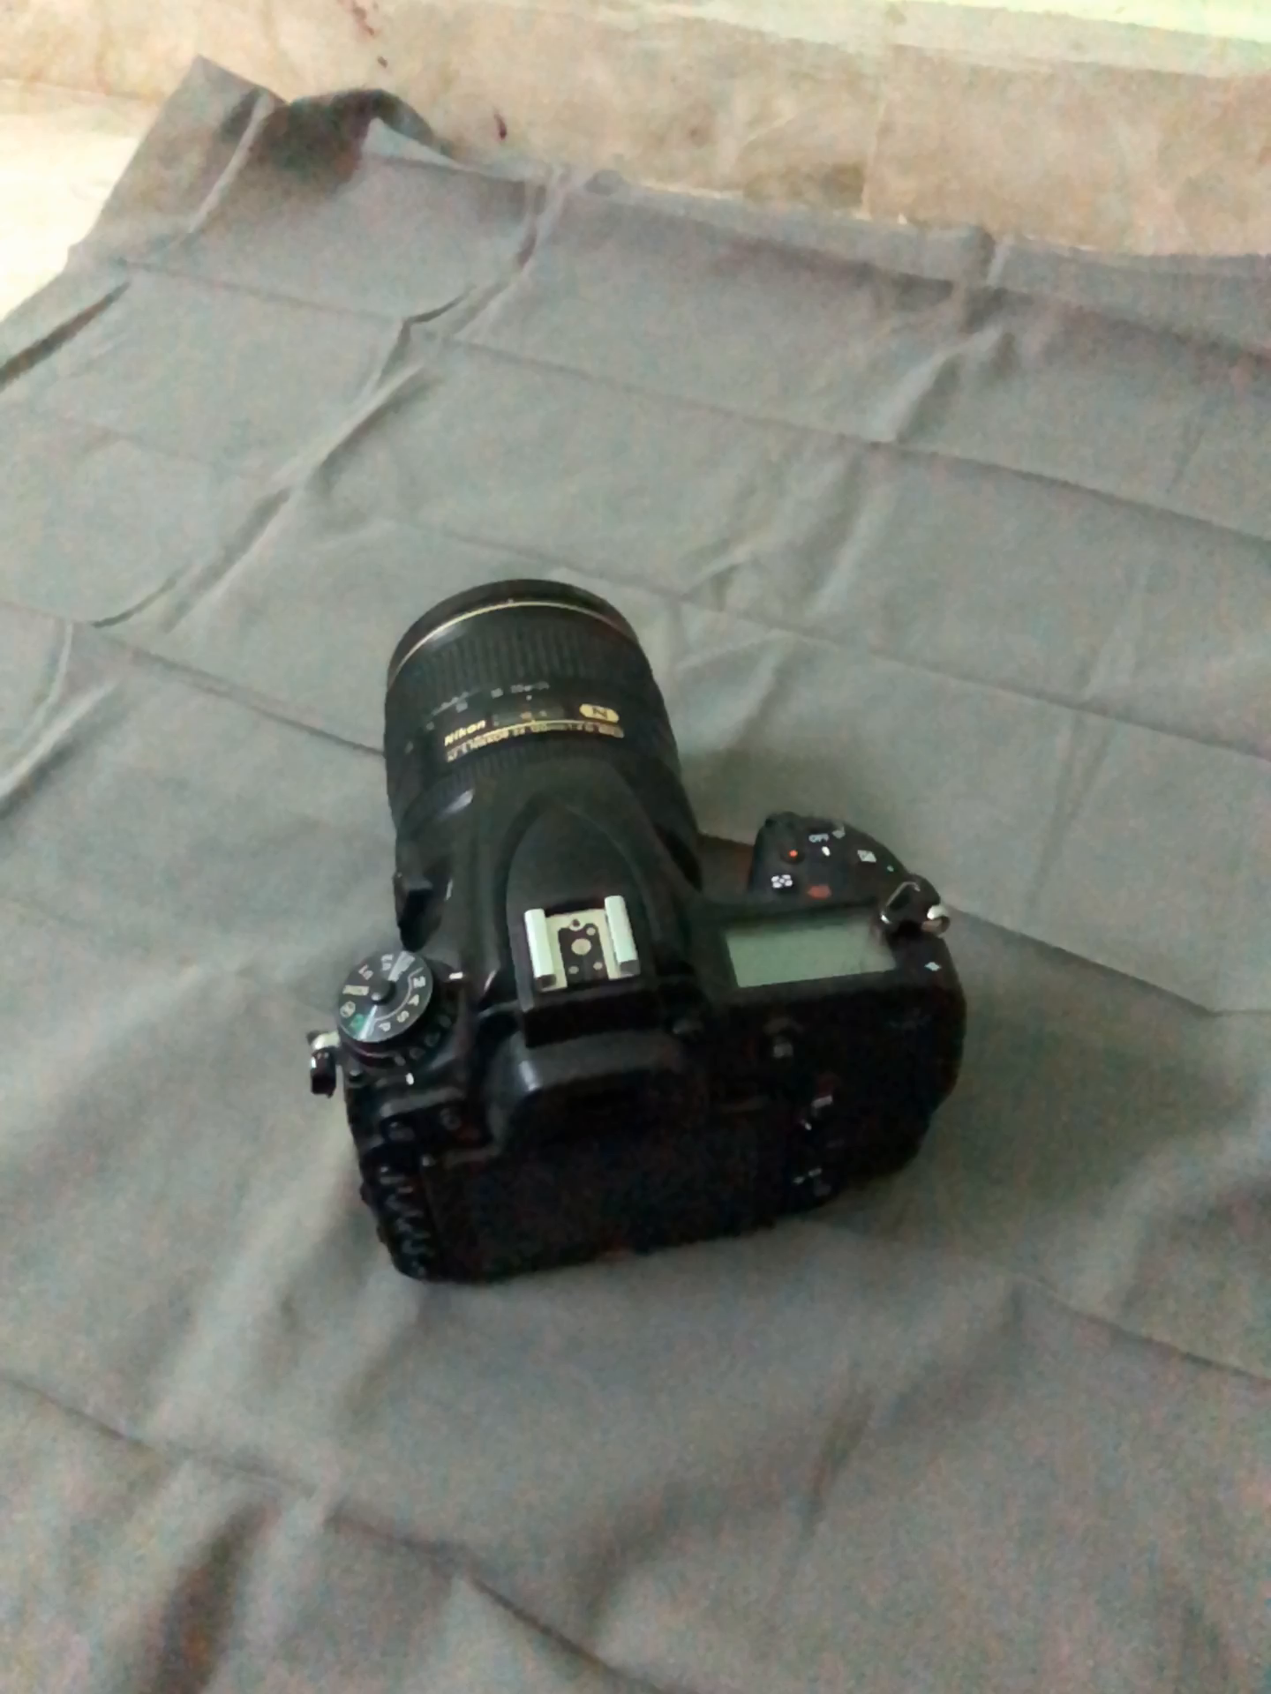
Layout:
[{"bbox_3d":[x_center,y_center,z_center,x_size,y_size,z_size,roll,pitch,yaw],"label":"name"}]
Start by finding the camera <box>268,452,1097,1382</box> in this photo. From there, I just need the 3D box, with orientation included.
[{"bbox_3d":[-0.002,0.015,0.348,0.146,0.134,0.164,-7,50,-5],"label":"camera"}]
